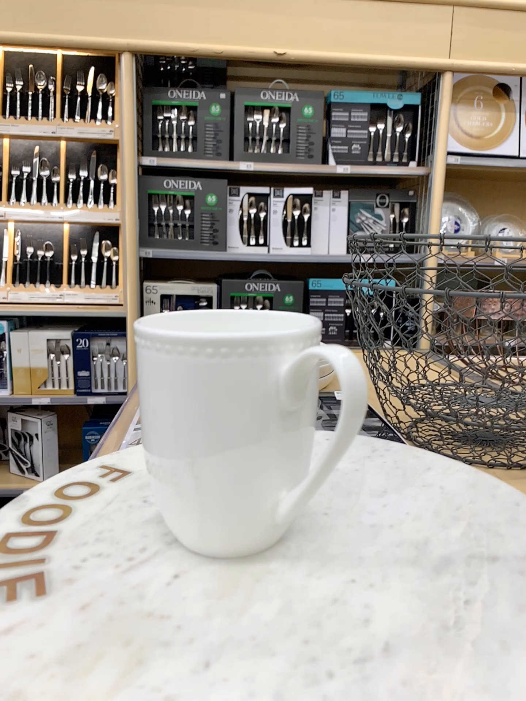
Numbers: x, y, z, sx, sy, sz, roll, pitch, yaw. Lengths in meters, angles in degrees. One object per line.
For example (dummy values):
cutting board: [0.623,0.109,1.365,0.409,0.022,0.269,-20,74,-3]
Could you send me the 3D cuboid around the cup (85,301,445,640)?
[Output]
cup: [-0.003,0.033,0.243,0.125,0.094,0.096,11,14,43]
